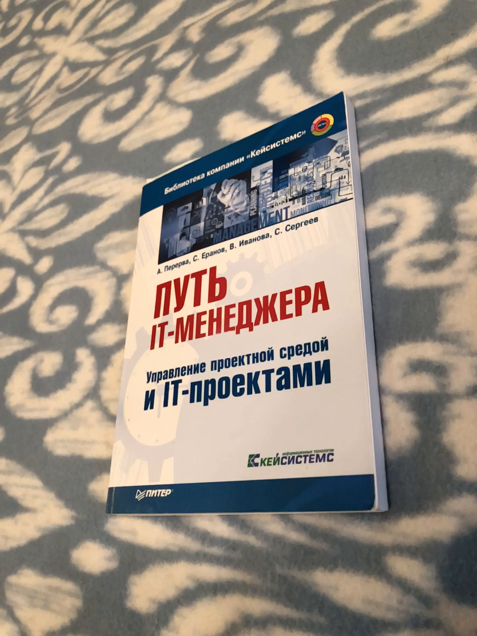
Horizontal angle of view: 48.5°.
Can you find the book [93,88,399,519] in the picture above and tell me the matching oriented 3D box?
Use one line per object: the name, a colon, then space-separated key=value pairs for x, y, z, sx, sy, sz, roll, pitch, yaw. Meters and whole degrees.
book: x=-0.005 y=-0.005 z=0.310 sx=0.173 sy=0.019 sz=0.228 roll=-14 pitch=62 yaw=33
